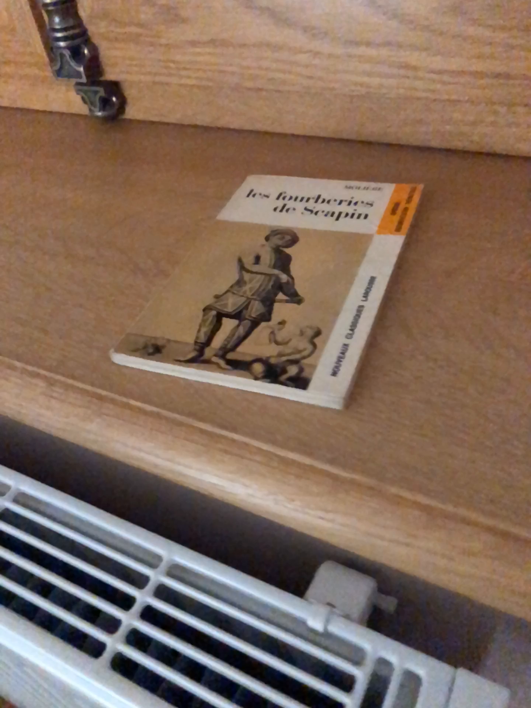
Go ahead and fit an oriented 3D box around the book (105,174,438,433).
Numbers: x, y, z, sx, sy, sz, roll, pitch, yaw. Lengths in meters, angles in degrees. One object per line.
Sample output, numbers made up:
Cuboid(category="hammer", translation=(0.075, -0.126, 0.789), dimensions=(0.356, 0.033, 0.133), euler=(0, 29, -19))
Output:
Cuboid(category="book", translation=(0.014, -0.042, 0.306), dimensions=(0.117, 0.015, 0.175), euler=(10, 46, 20))
